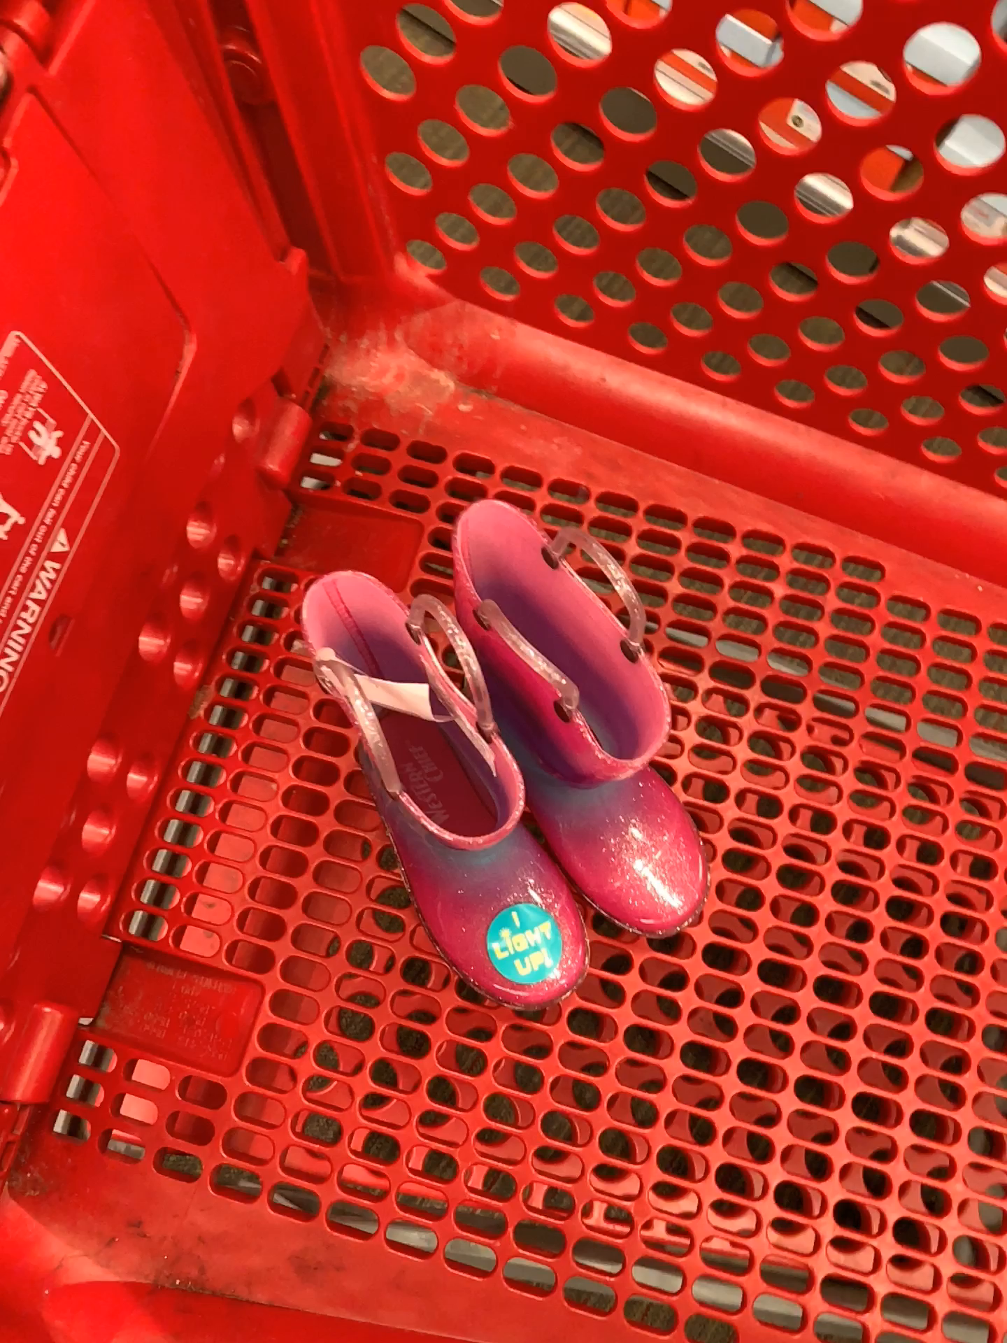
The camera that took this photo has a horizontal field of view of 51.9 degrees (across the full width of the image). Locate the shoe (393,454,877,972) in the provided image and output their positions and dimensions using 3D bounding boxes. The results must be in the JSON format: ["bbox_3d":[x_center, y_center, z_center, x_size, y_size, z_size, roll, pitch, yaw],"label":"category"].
[{"bbox_3d":[0.040,0.028,0.442,0.070,0.140,0.190,-37,80,-14],"label":"shoe"}]

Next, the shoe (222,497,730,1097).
[{"bbox_3d":[-0.018,0.054,0.418,0.070,0.140,0.200,-34,80,-13],"label":"shoe"}]
